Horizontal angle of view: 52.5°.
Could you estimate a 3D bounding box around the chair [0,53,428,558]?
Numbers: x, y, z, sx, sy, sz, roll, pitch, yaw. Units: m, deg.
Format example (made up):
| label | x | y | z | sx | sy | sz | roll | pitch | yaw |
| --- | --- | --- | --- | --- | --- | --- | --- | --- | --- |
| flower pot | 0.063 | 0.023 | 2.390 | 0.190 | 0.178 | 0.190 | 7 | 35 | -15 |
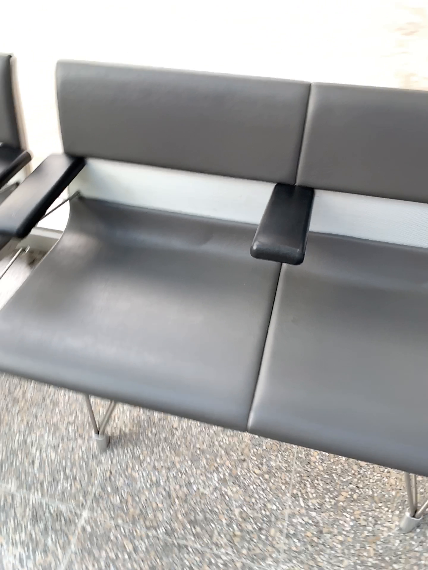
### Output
| label | x | y | z | sx | sy | sz | roll | pitch | yaw |
| --- | --- | --- | --- | --- | --- | --- | --- | --- | --- |
| chair | 0.140 | 0.003 | 1.119 | 1.201 | 0.714 | 0.826 | 11 | 52 | 11 |
